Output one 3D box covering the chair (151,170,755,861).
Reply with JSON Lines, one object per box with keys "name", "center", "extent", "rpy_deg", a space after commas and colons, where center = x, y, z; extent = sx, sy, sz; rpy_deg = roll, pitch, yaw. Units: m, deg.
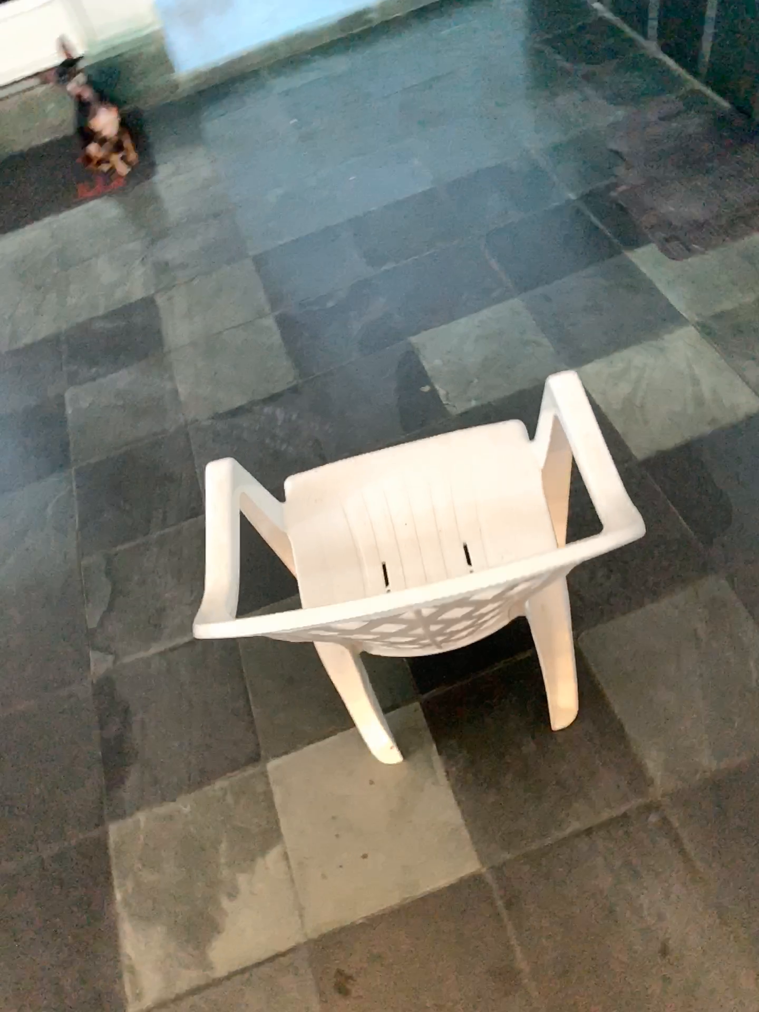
{"name": "chair", "center": [0.078, 0.064, 1.135], "extent": [0.540, 0.717, 0.592], "rpy_deg": [-16, 52, 3]}
